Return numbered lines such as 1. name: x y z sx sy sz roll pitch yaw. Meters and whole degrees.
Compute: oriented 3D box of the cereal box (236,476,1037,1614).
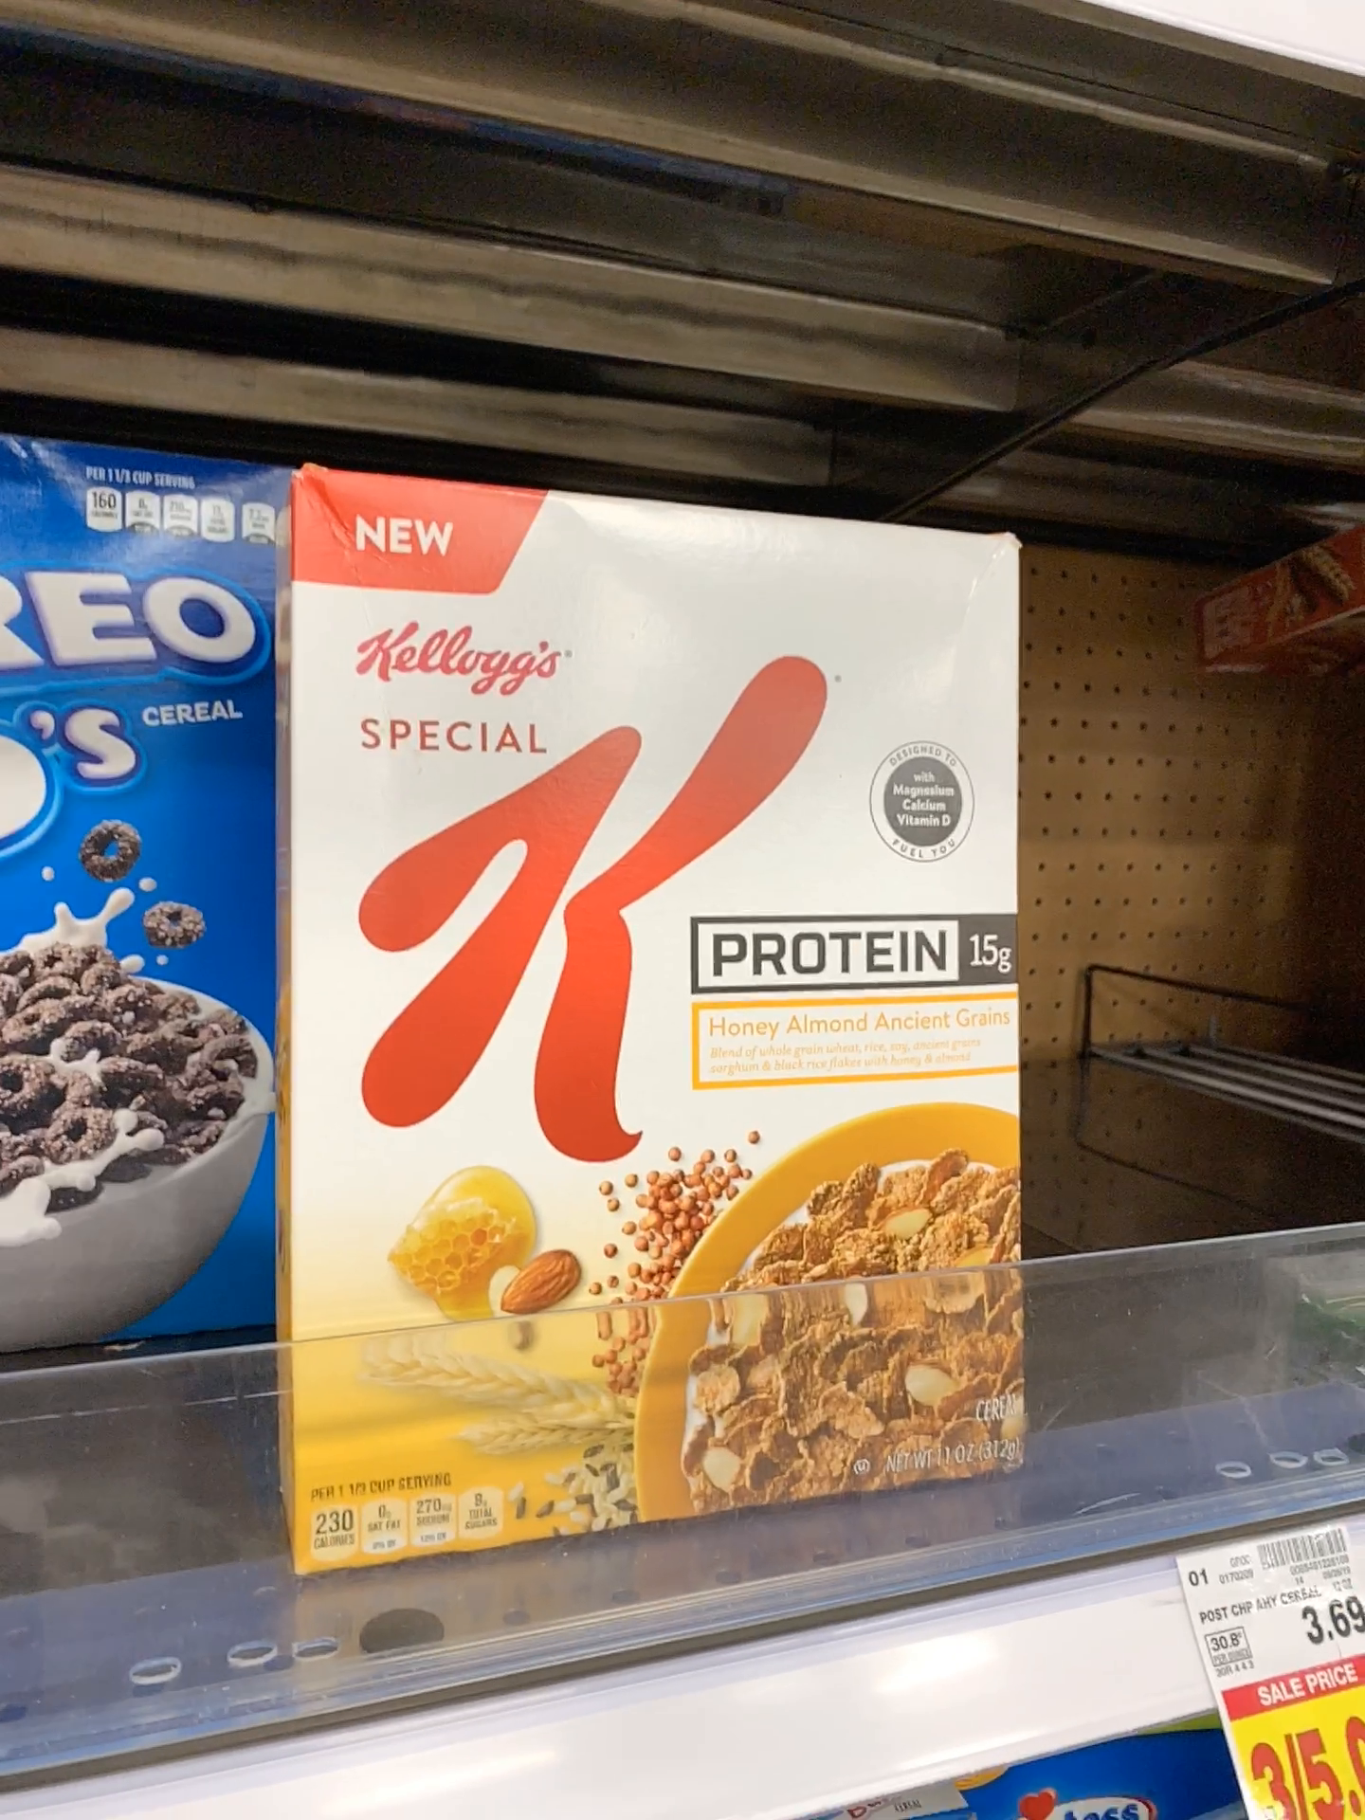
1. cereal box: -0.008 0.028 0.362 0.200 0.250 0.040 -1 0 -19
